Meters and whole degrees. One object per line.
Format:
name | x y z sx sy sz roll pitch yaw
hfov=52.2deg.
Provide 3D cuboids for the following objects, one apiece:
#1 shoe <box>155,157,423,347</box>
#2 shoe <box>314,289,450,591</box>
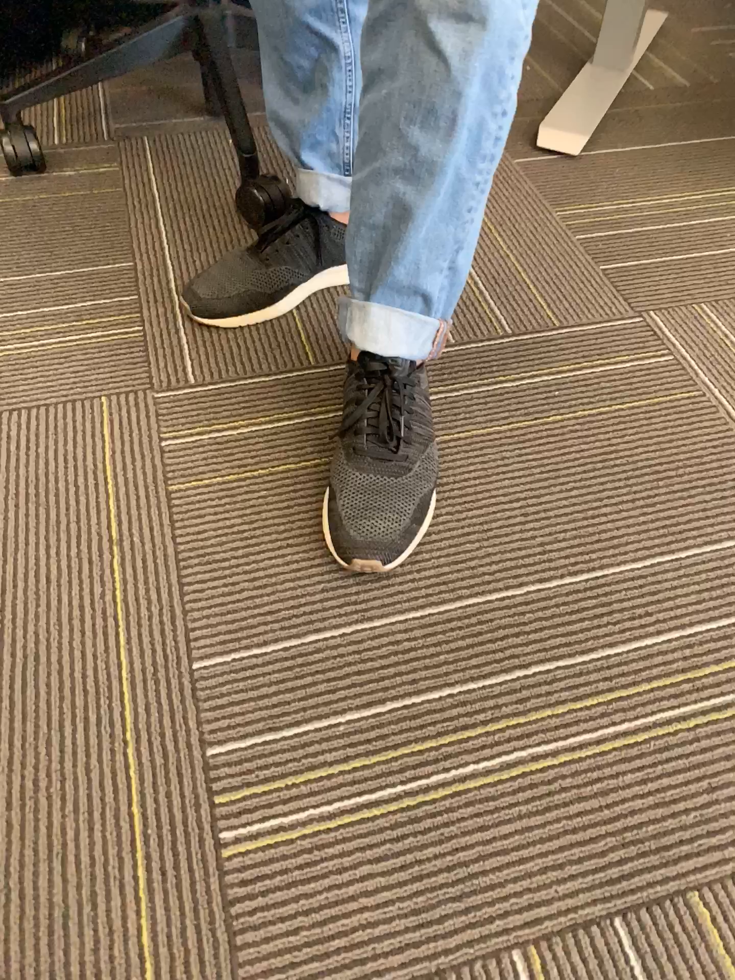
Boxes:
shoe | -0.090 -0.304 0.941 0.306 0.106 0.110 -27 57 -22
shoe | 0.019 -0.062 0.754 0.112 0.106 0.307 4 51 1
